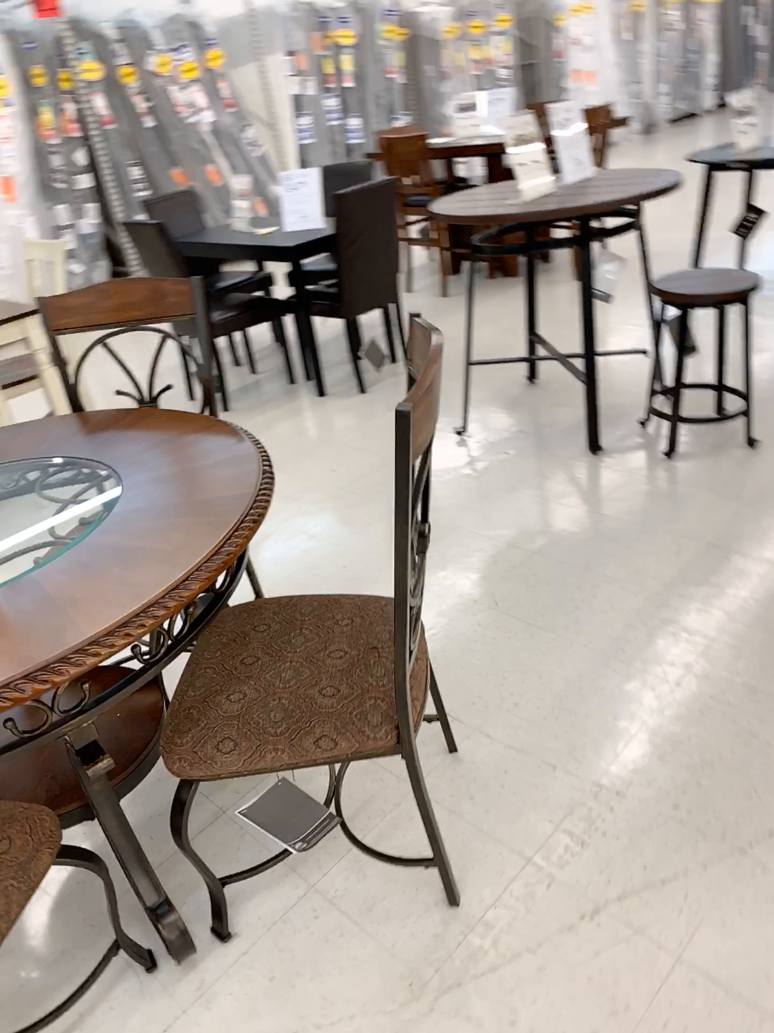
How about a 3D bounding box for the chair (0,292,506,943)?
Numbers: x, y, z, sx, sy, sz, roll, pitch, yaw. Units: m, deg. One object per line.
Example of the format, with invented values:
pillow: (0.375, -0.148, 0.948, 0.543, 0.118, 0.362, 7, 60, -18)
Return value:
chair: (-0.132, 0.197, 1.389, 0.580, 0.975, 0.523, -5, 29, 9)
